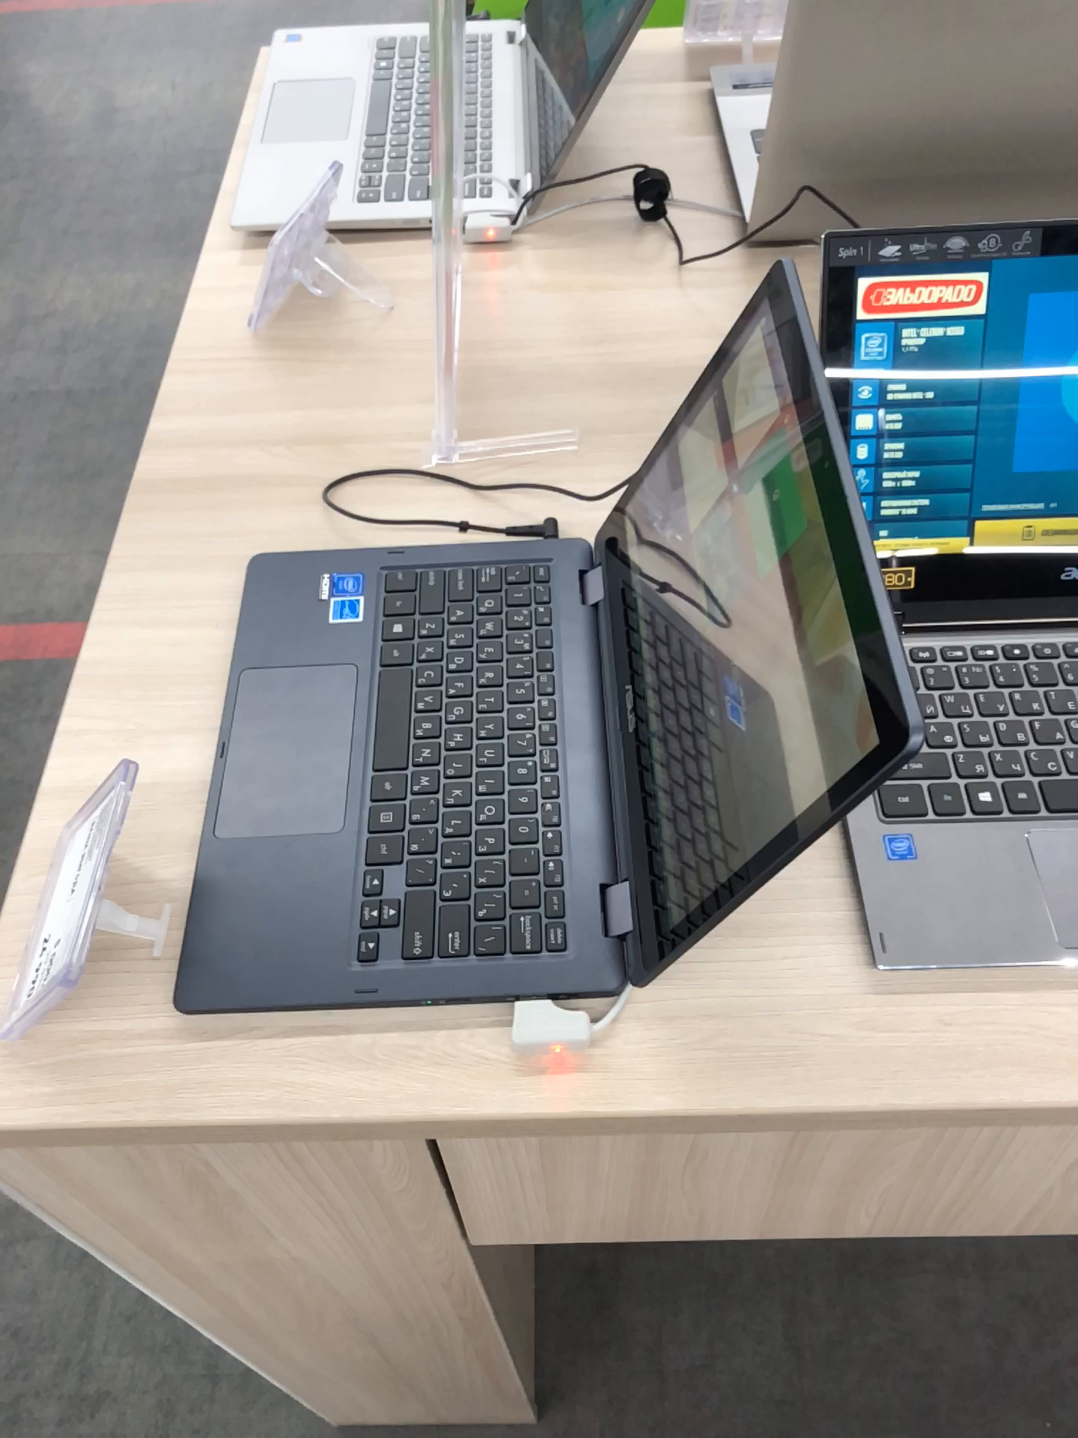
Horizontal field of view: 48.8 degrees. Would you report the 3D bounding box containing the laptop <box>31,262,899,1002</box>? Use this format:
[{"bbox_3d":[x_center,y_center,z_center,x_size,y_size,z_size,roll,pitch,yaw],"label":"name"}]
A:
[{"bbox_3d":[-0.024,-0.042,0.529,0.280,0.166,0.270,-3,53,2],"label":"laptop"}]

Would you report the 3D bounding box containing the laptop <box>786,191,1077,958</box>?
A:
[{"bbox_3d":[0.271,-0.070,0.528,0.261,0.162,0.300,-2,53,3],"label":"laptop"}]
